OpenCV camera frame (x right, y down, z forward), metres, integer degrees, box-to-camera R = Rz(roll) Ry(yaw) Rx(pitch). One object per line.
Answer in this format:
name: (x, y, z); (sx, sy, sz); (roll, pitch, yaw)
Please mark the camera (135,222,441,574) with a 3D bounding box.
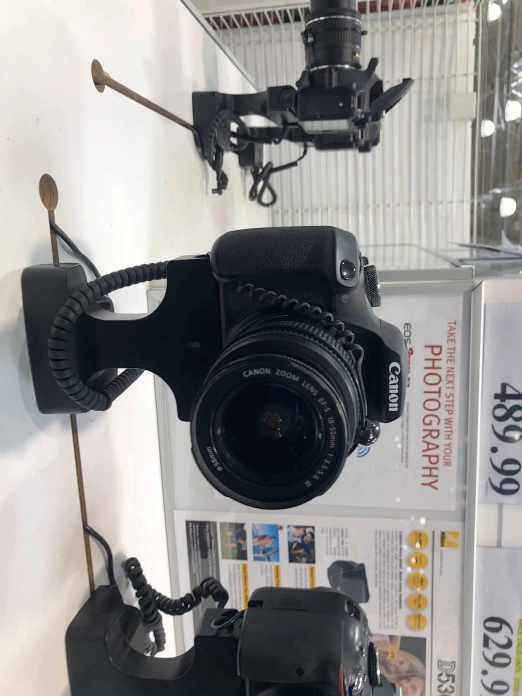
camera: (0.023, 0.008, 0.295); (0.150, 0.110, 0.130); (-58, 147, -72)
